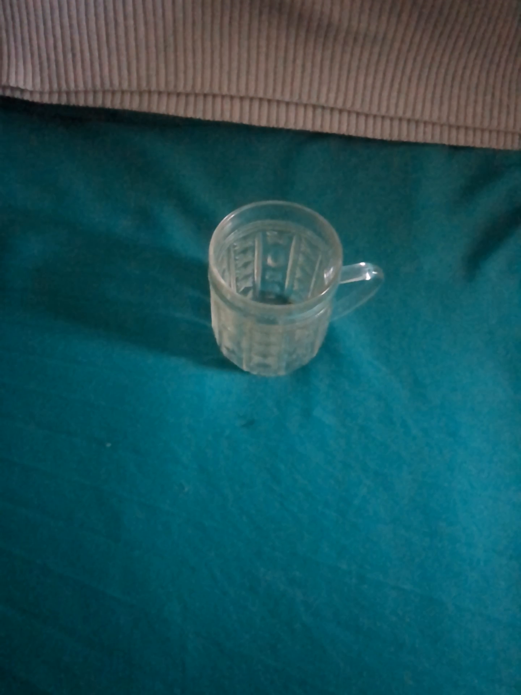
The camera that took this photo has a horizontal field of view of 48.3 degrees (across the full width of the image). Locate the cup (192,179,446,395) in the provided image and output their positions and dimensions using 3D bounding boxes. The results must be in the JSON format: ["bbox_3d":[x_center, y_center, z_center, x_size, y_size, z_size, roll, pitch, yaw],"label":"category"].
[{"bbox_3d":[0.024,-0.029,0.303,0.104,0.076,0.064,-13,68,-10],"label":"cup"}]
